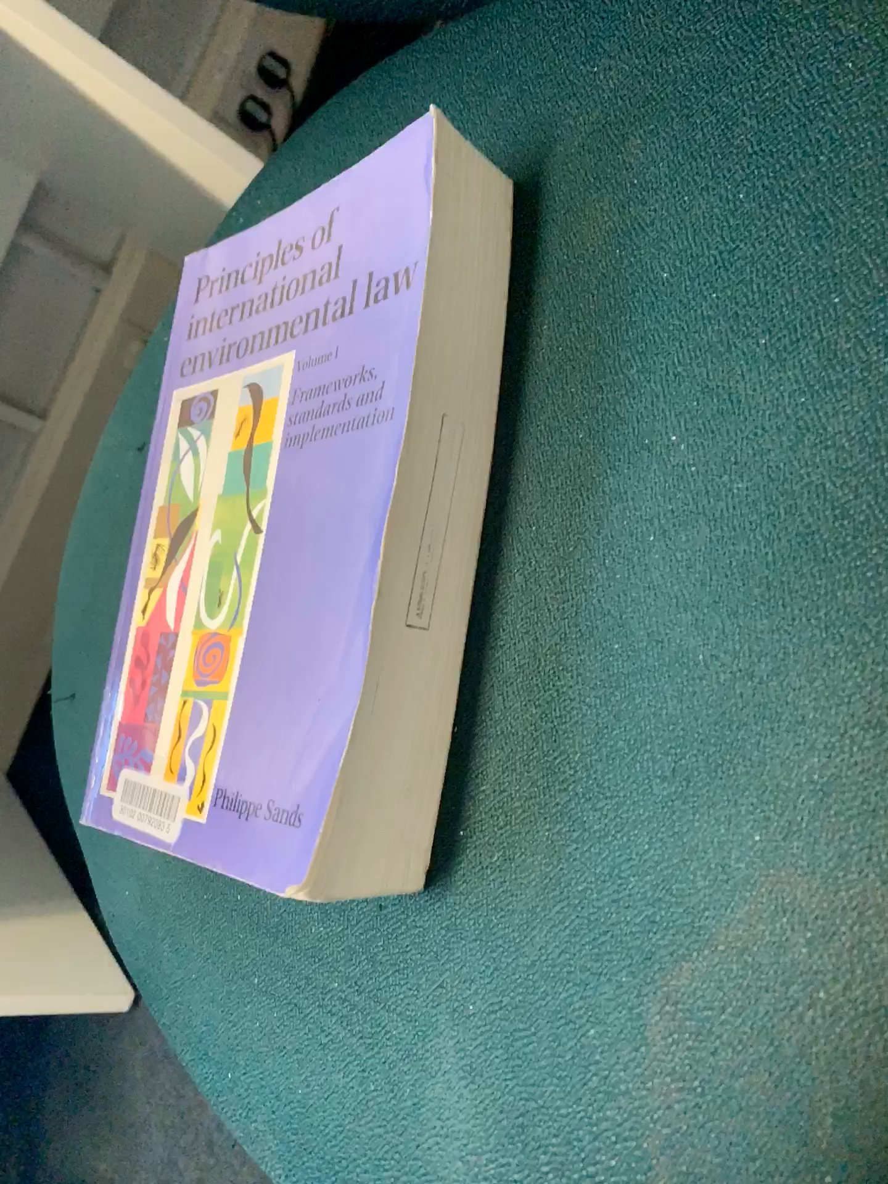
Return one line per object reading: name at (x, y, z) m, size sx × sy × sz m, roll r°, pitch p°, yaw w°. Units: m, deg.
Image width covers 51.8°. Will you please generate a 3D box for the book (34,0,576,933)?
book at (-0.055, -0.038, 0.329) m, size 0.181 × 0.050 × 0.270 m, roll -4°, pitch 72°, yaw 45°
